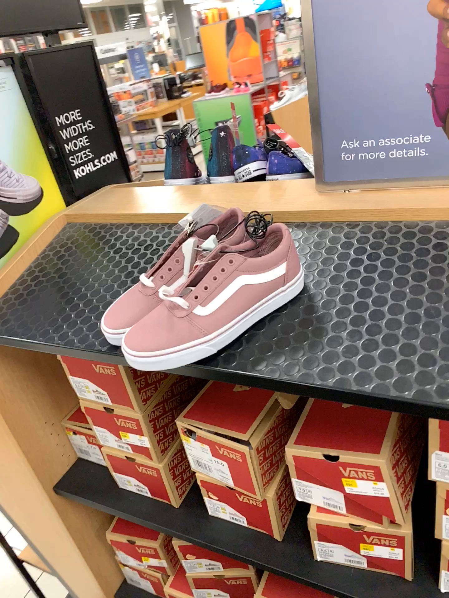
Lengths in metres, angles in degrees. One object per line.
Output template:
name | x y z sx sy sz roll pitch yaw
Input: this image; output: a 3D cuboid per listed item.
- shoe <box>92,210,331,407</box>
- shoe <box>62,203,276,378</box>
shoe | -0.013 0.003 0.566 0.260 0.099 0.101 -29 33 -13
shoe | -0.073 -0.021 0.636 0.260 0.099 0.101 -31 33 -15
